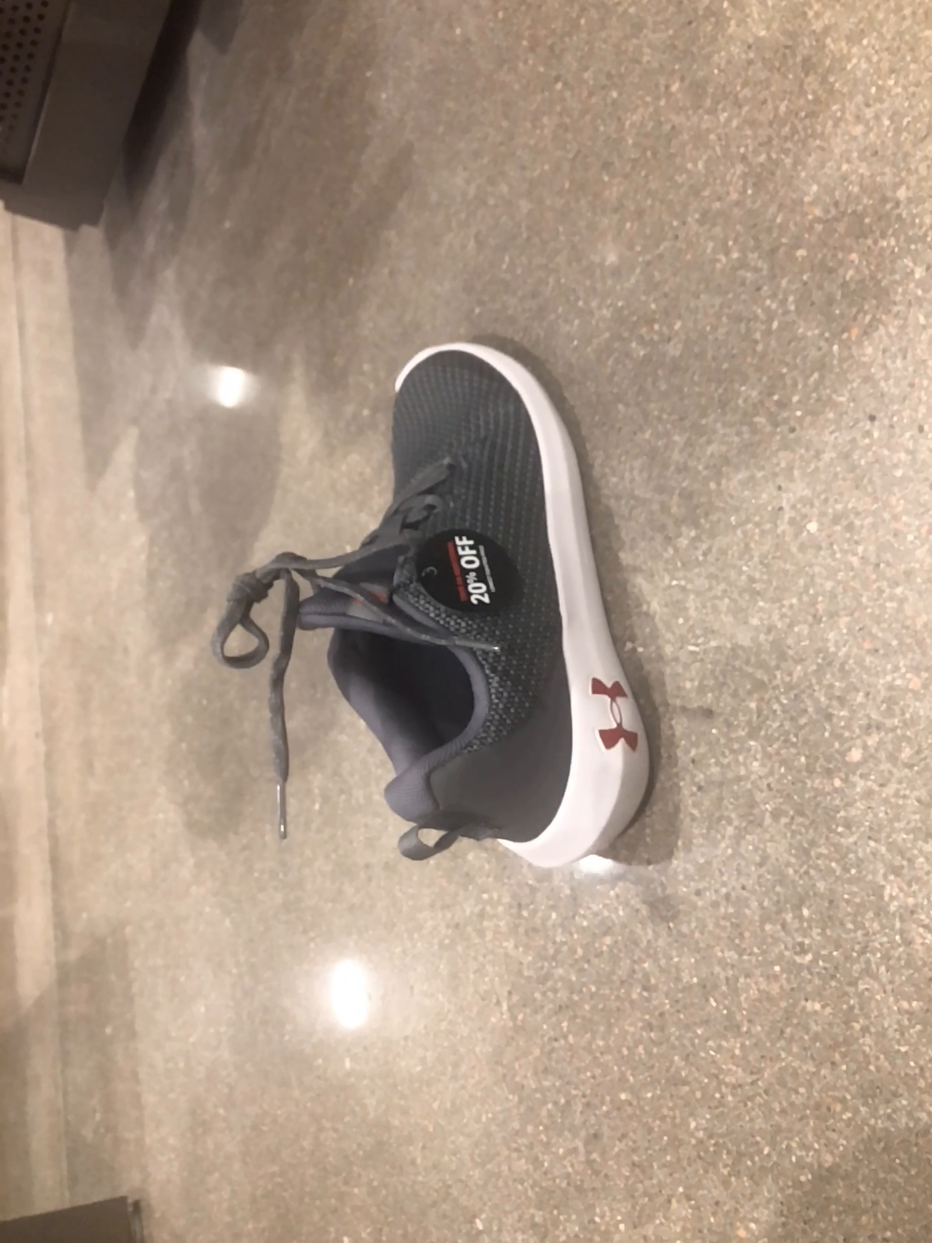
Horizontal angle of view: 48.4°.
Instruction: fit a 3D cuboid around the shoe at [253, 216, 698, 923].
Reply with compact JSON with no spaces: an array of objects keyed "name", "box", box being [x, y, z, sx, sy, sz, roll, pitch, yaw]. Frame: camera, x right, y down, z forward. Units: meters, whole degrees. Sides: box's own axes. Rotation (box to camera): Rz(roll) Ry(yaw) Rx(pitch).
[{"name":"shoe","box":[-0.012,-0.023,0.442,0.116,0.084,0.265,-42,52,44]}]
